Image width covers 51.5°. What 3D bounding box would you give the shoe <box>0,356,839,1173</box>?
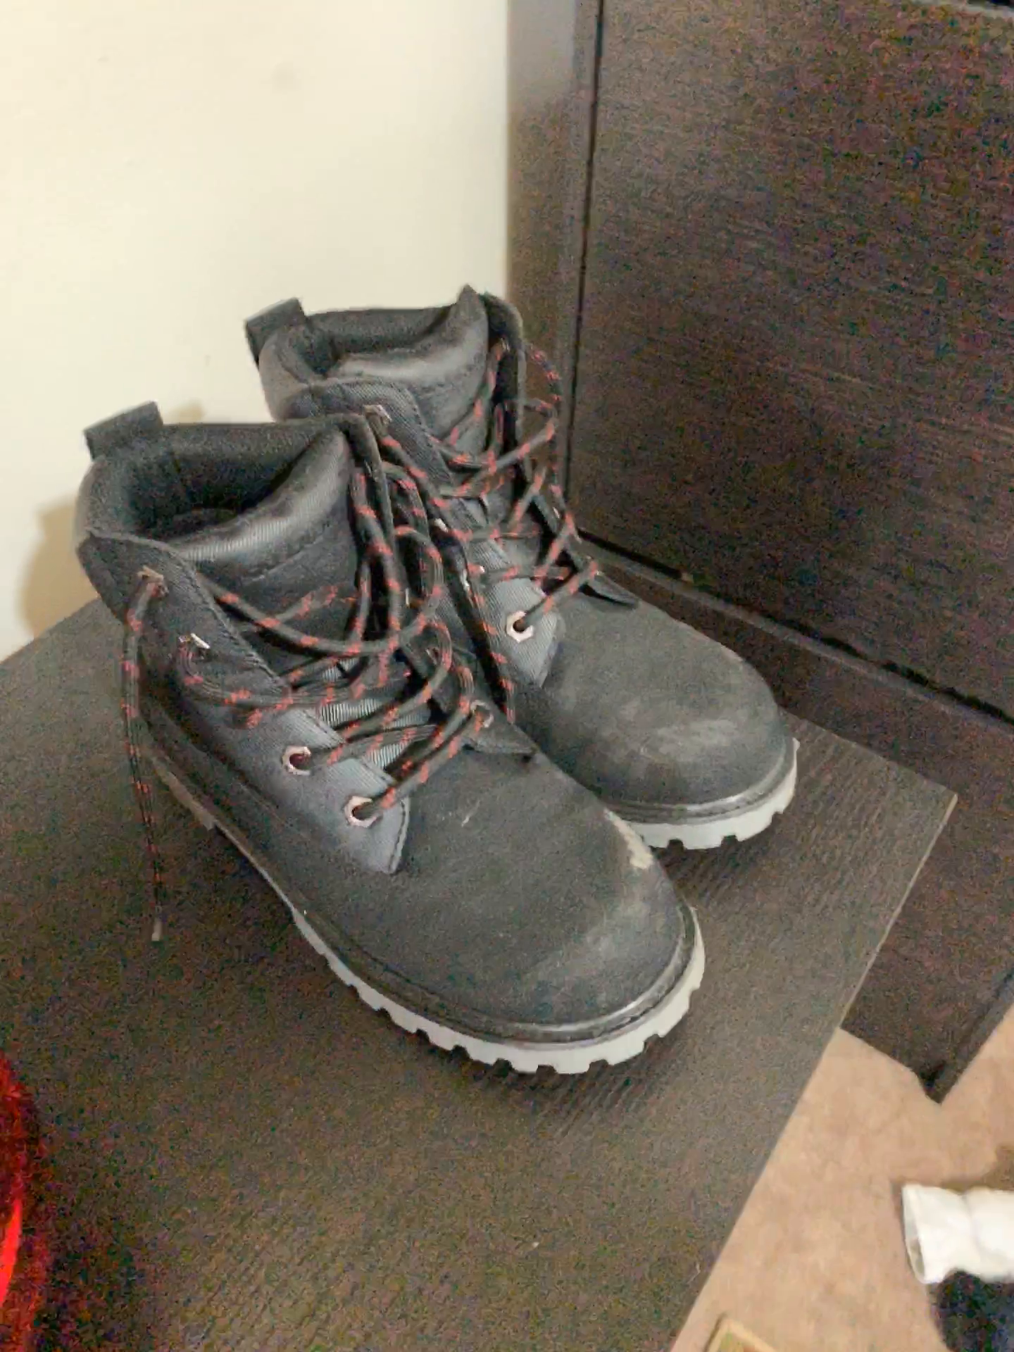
[{"bbox_3d":[-0.034,0.021,0.339,0.221,0.158,0.101,26,50,24],"label":"shoe"}]

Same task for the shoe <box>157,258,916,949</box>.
[{"bbox_3d":[0.003,-0.035,0.397,0.231,0.158,0.101,26,50,24],"label":"shoe"}]
